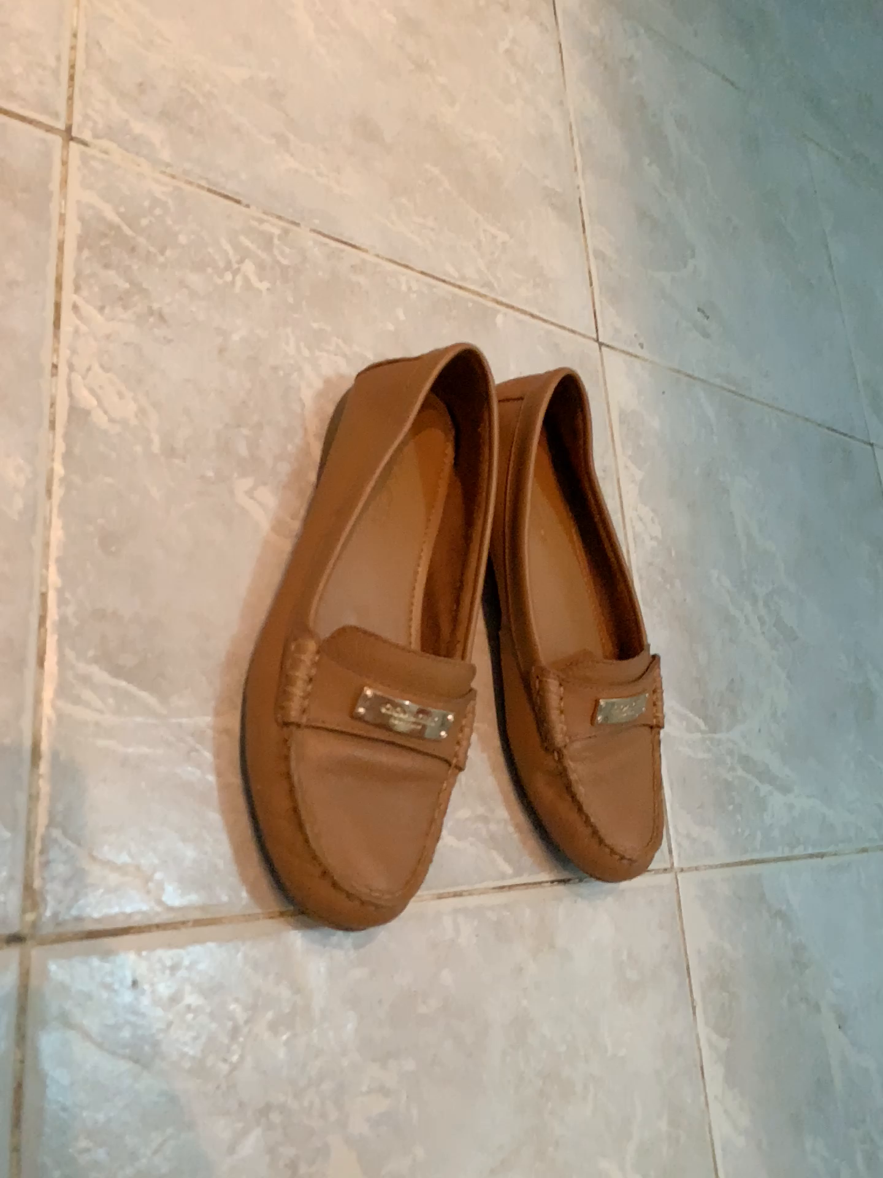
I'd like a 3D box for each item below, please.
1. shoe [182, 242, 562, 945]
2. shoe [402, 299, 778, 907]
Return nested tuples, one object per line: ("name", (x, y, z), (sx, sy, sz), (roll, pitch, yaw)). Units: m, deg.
("shoe", (-0.018, 0.000, 0.345), (0.083, 0.071, 0.243), (22, 63, -30))
("shoe", (0.062, 0.005, 0.399), (0.085, 0.071, 0.242), (-6, 78, -38))
